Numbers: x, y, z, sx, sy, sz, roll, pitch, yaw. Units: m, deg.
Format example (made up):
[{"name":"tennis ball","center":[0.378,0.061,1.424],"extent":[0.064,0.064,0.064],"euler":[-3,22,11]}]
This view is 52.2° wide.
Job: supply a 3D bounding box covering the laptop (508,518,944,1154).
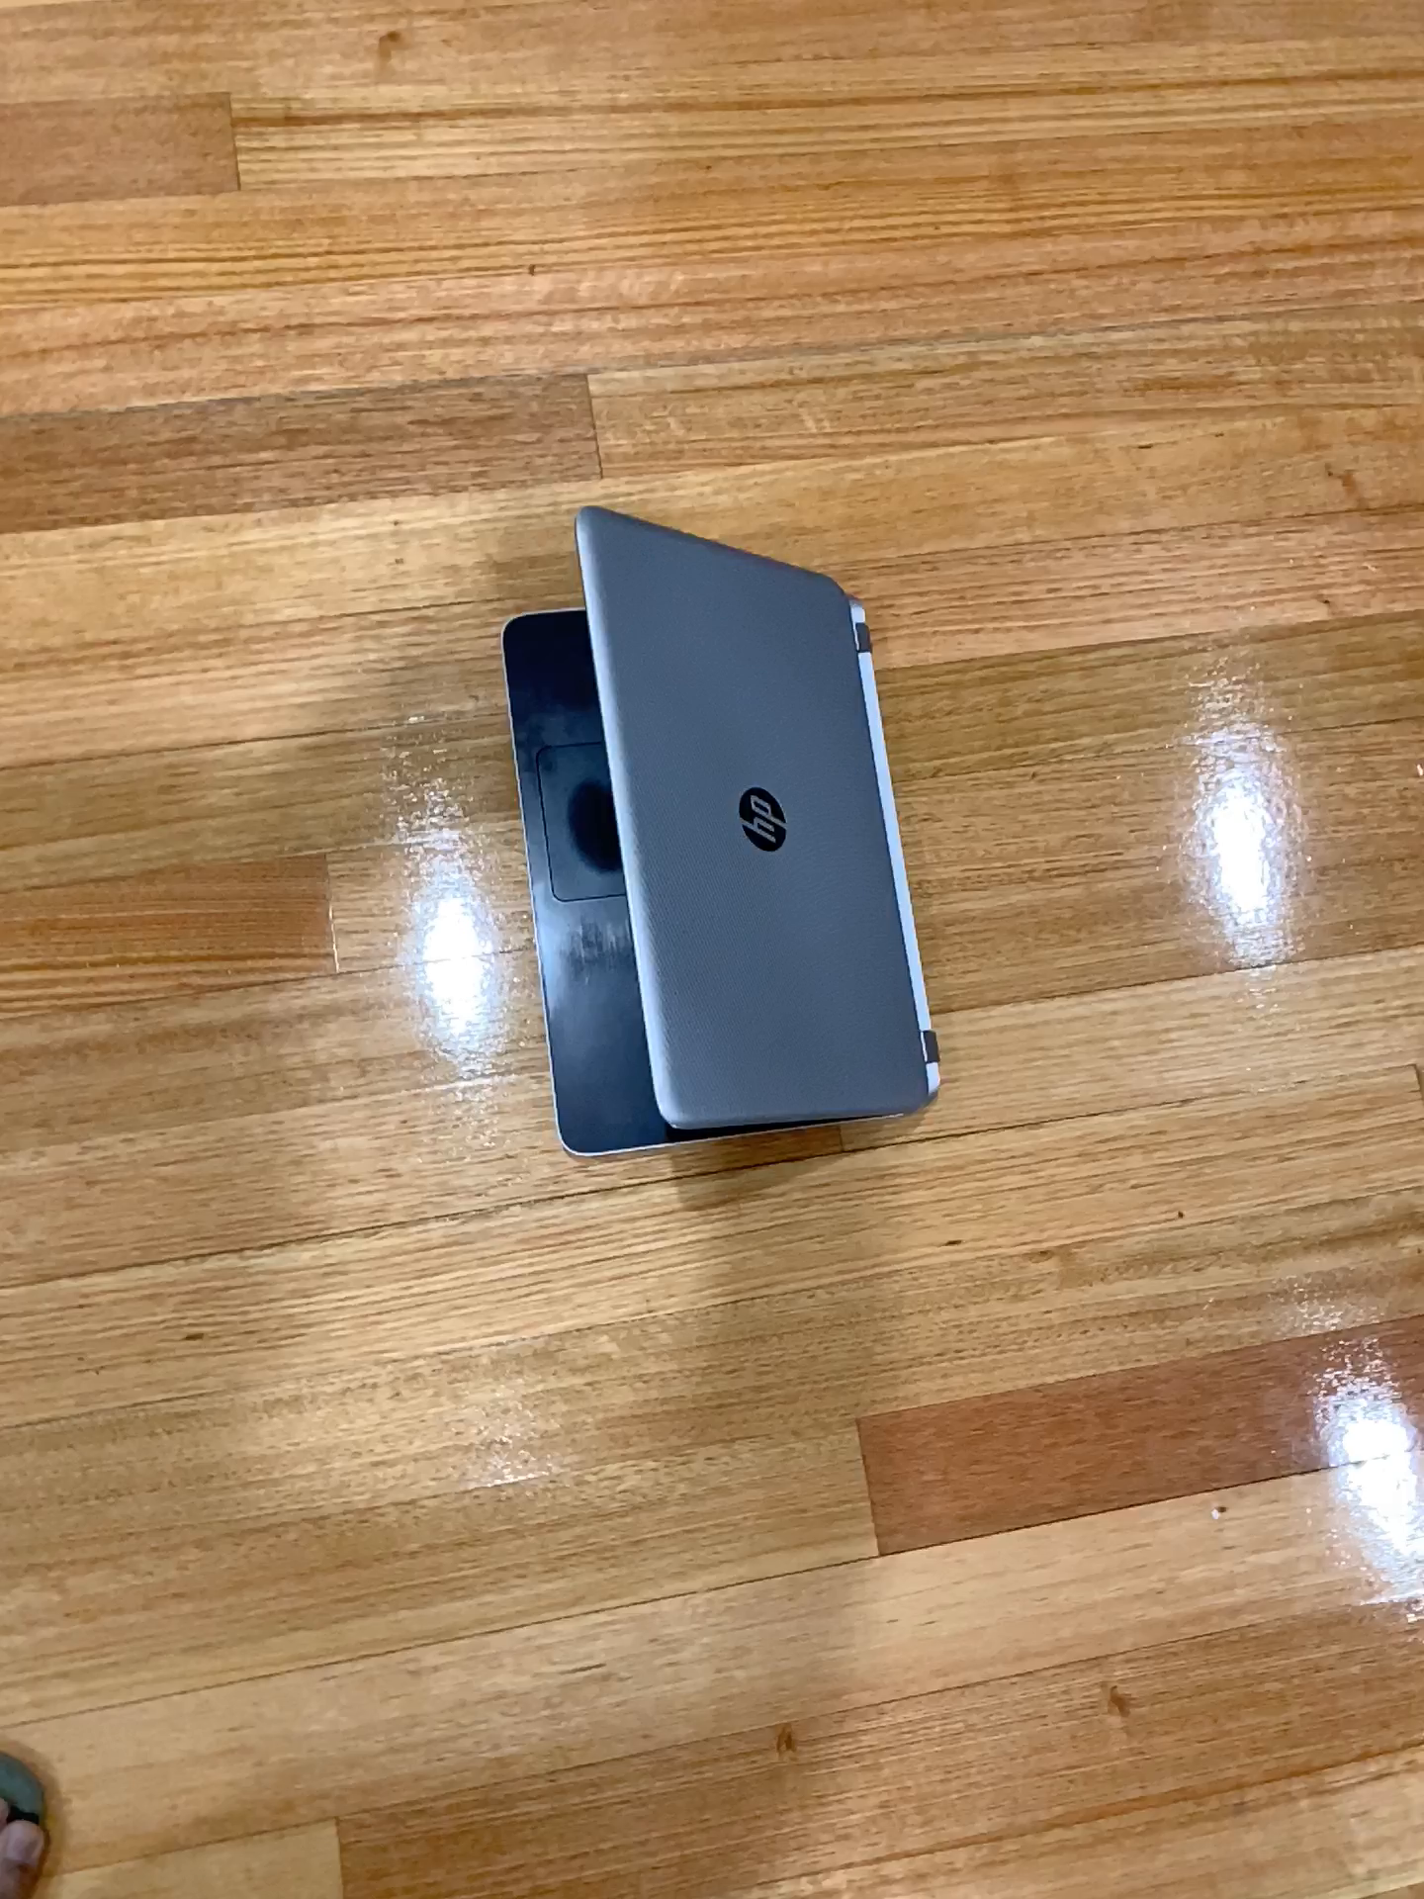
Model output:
[{"name":"laptop","center":[0.000,-0.066,0.855],"extent":[0.209,0.103,0.332],"euler":[-6,79,-8]}]
